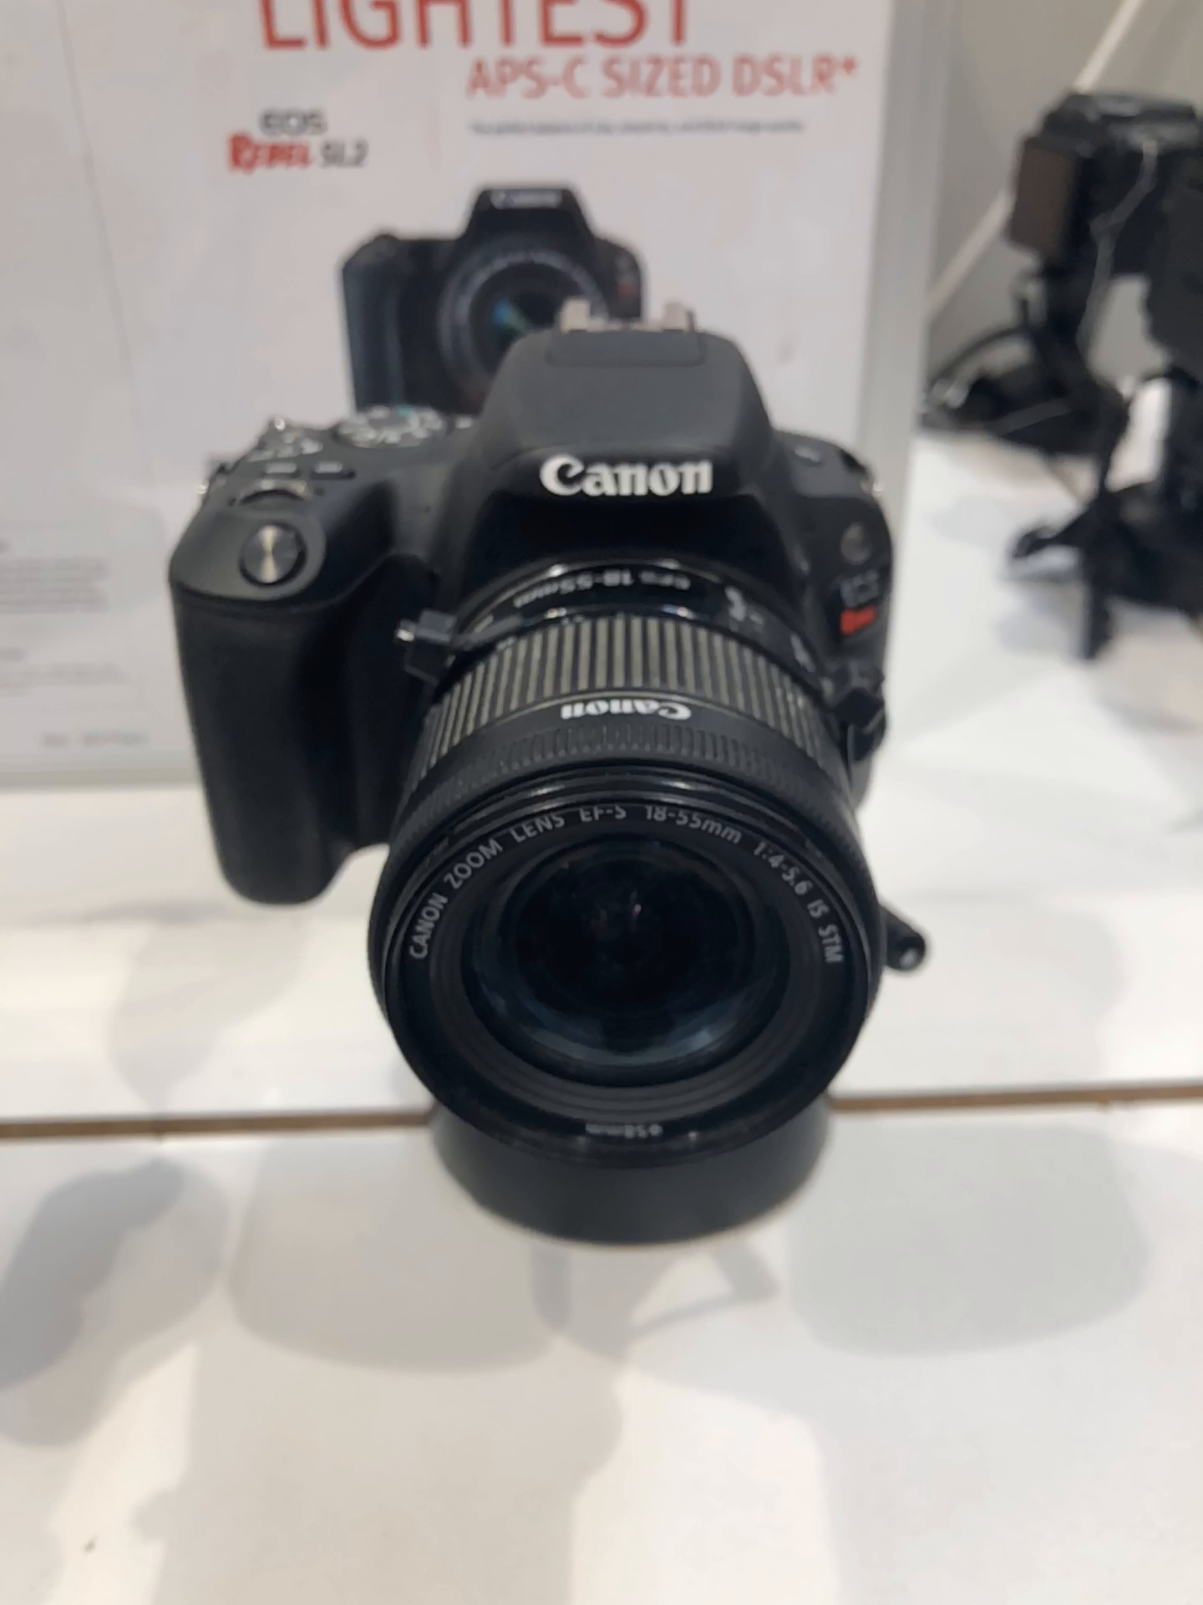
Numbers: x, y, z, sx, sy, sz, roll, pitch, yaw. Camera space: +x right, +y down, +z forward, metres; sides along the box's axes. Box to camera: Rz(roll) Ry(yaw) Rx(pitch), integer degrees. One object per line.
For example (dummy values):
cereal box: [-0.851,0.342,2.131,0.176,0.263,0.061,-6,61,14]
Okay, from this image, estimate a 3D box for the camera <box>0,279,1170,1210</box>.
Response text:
camera: [-0.011,-0.018,0.206,0.130,0.089,0.121,-1,32,0]
